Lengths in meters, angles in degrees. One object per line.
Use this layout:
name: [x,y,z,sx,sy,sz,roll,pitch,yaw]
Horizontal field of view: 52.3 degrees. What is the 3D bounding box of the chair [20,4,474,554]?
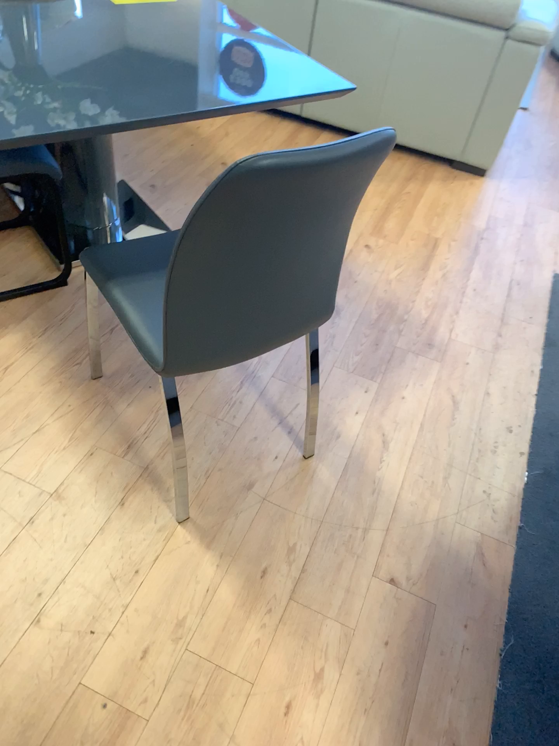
chair: [-0.132,-0.186,1.246,0.481,0.892,0.644,-21,53,-27]
